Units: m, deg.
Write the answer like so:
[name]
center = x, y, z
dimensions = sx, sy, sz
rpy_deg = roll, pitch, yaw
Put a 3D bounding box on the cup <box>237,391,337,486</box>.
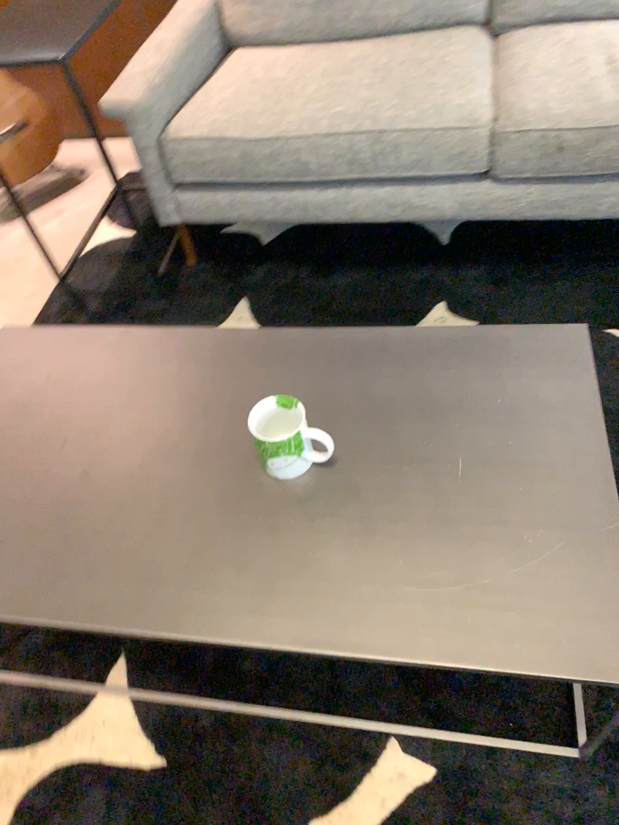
[cup]
center = -0.027, 0.037, 0.881
dimensions = 0.120, 0.090, 0.090
rpy_deg = -4, 50, 8
